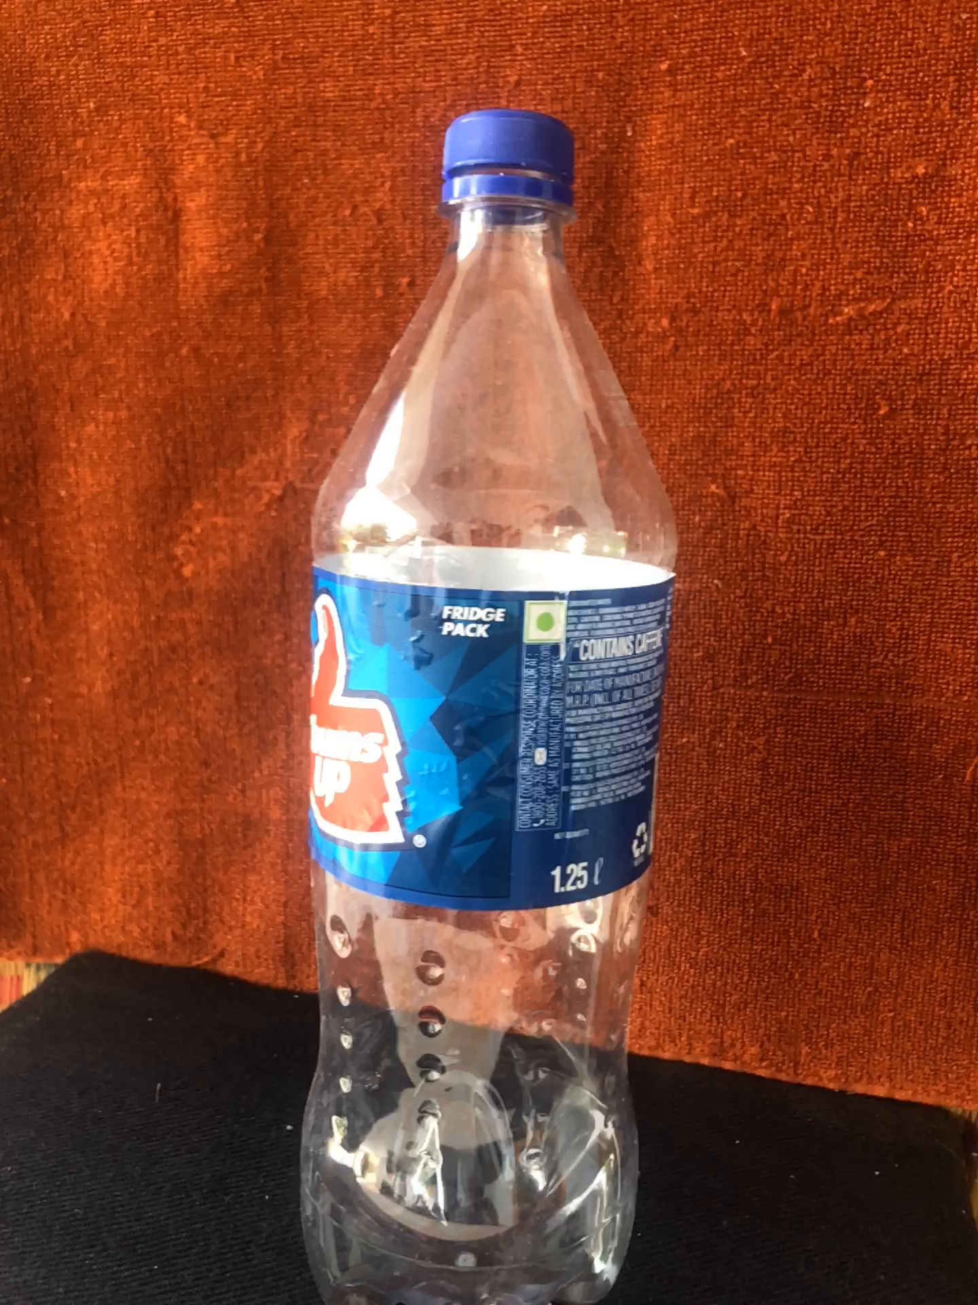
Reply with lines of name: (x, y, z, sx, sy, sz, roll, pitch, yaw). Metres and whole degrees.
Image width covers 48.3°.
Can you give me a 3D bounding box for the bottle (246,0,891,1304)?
bottle: (0.004, 0.012, 0.255, 0.090, 0.289, 0.100, -5, 15, -32)
